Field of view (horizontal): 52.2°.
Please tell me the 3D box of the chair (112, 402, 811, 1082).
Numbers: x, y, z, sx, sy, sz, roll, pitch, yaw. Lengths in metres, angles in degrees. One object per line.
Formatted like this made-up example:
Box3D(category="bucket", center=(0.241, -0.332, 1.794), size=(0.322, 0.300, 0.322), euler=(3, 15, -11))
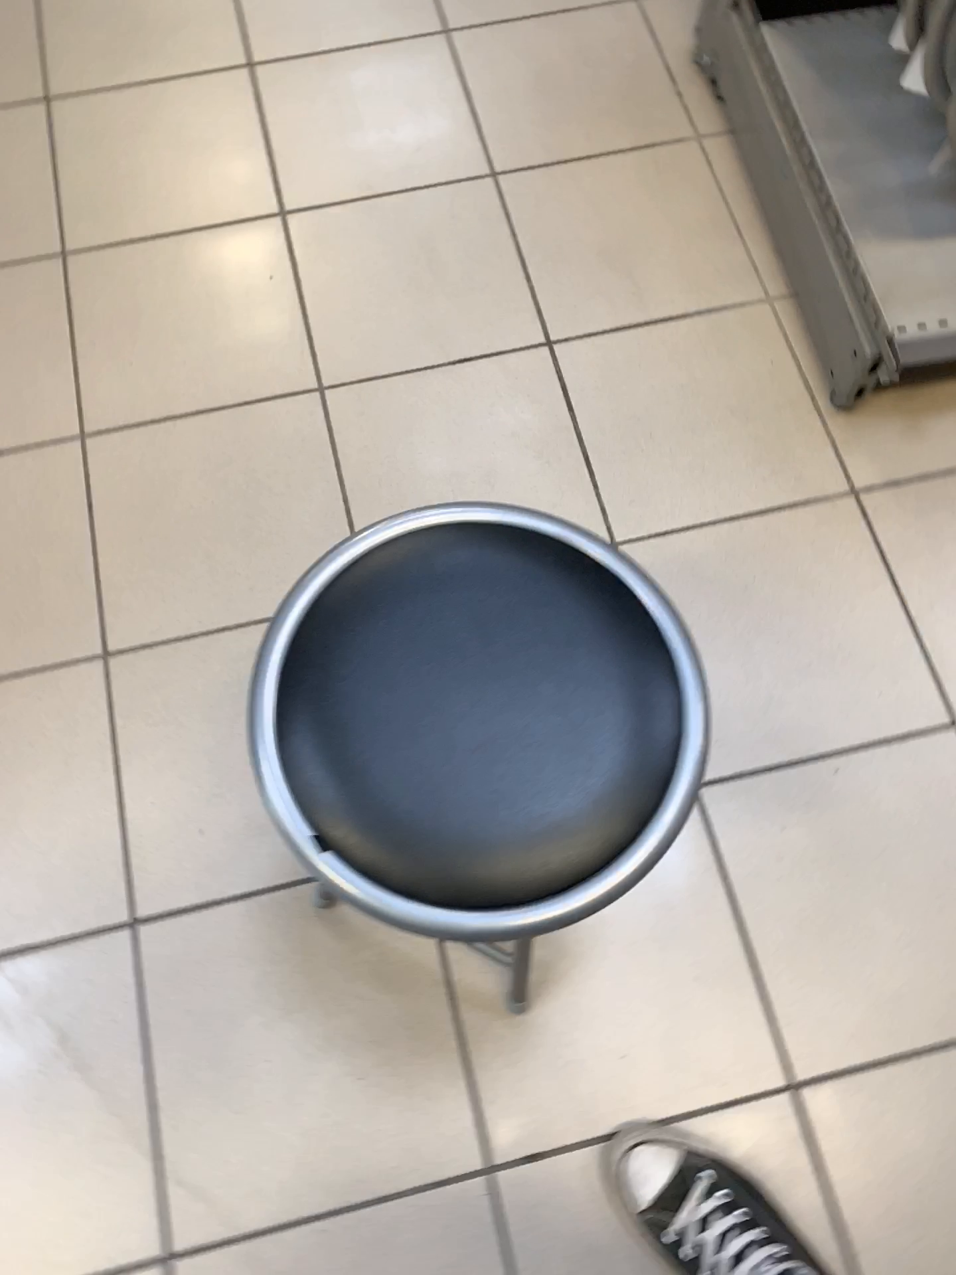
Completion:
Box3D(category="chair", center=(0.000, 0.113, 0.810), size=(0.328, 0.403, 0.335), euler=(26, 70, 10))
